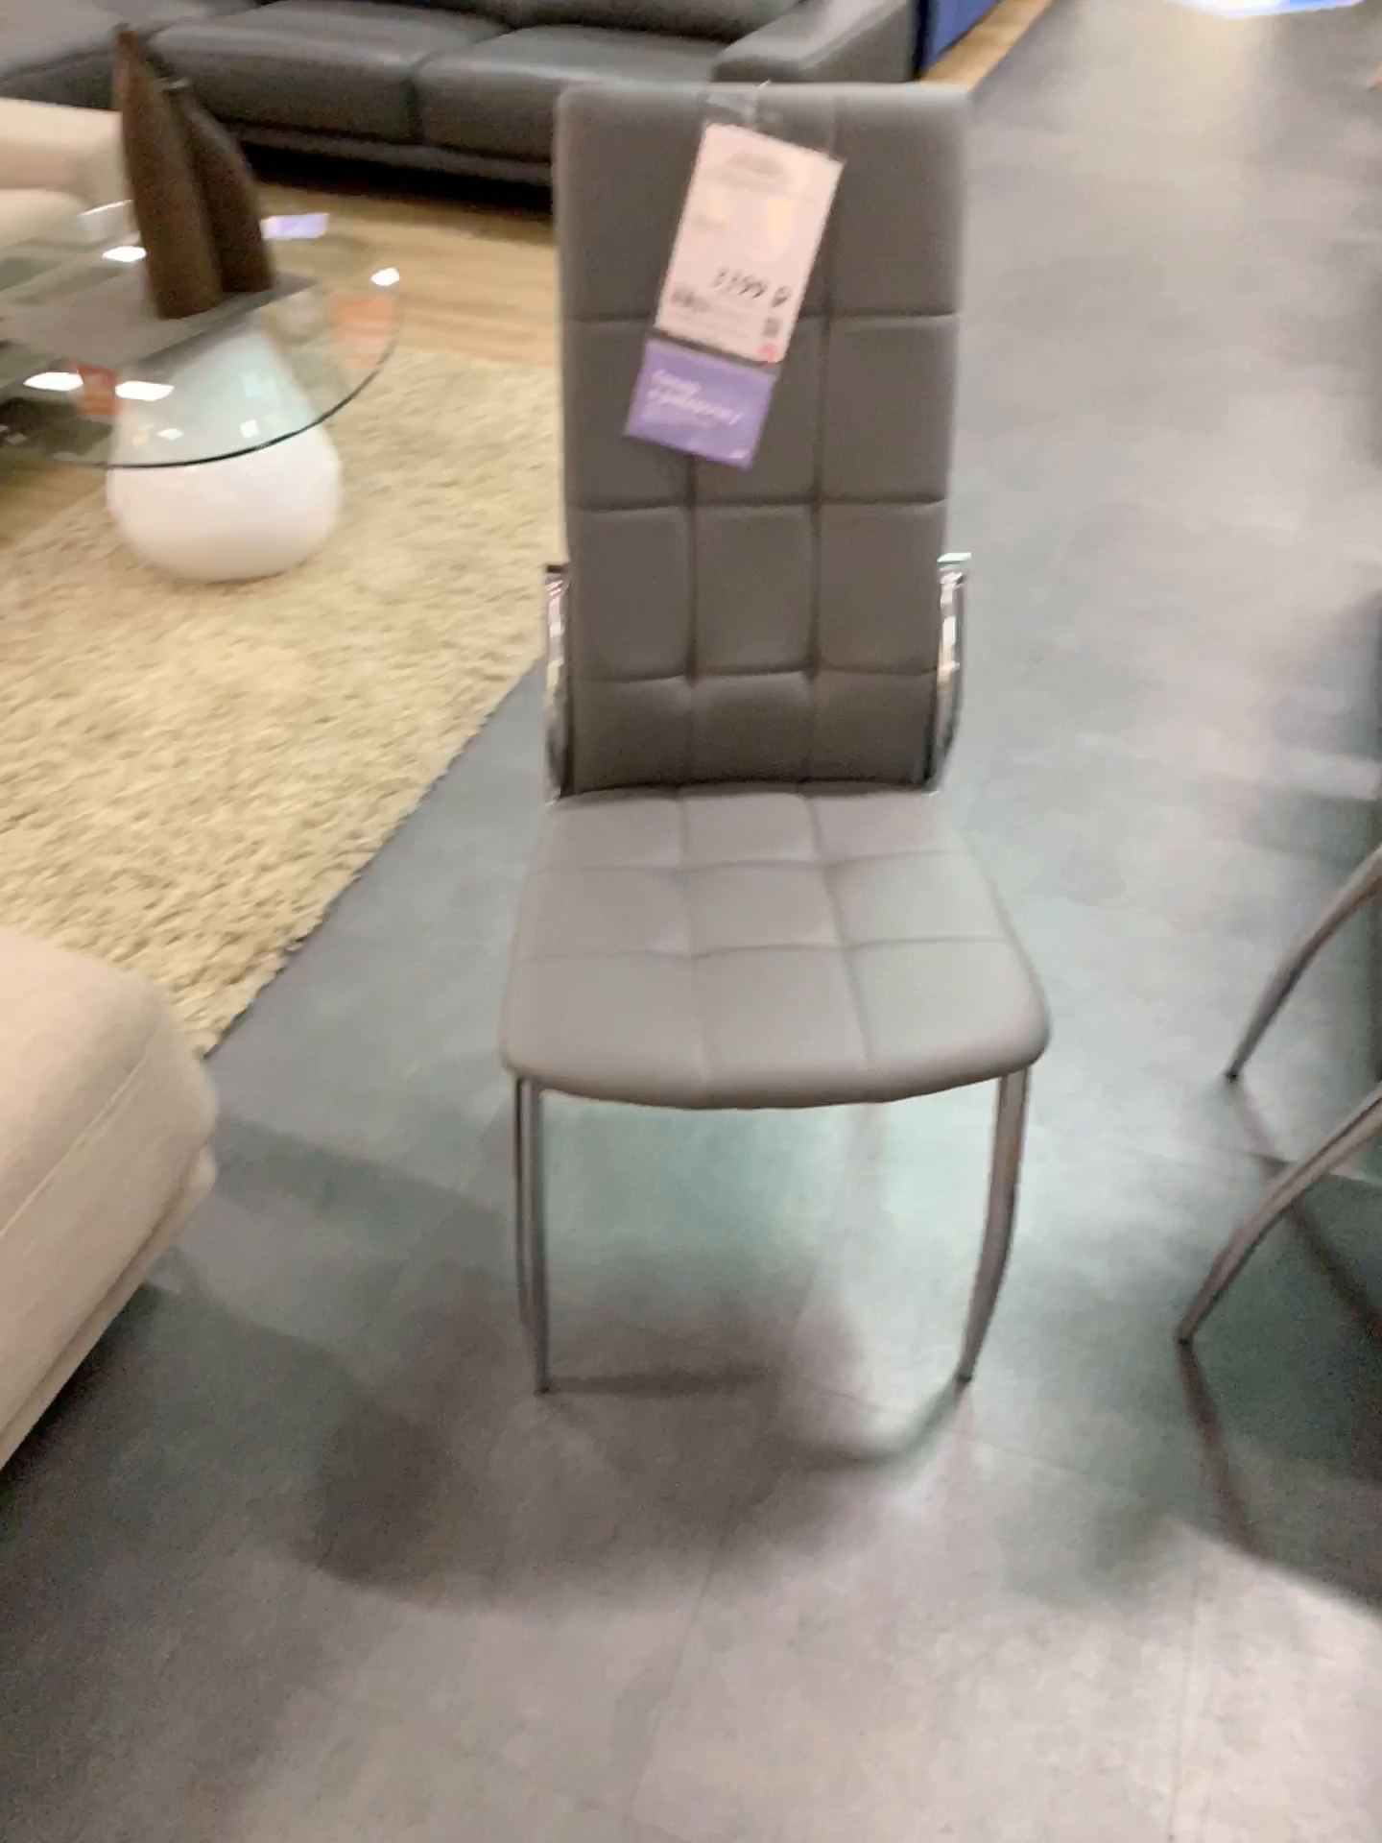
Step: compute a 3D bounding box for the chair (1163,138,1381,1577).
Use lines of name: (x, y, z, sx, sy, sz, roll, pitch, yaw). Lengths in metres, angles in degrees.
chair: (0.830, 0.005, 1.178, 0.550, 1.024, 0.452, 17, 45, 16)

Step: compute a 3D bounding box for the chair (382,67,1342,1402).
chair: (0.071, -0.094, 1.233, 0.470, 1.024, 0.533, -1, 43, -2)
